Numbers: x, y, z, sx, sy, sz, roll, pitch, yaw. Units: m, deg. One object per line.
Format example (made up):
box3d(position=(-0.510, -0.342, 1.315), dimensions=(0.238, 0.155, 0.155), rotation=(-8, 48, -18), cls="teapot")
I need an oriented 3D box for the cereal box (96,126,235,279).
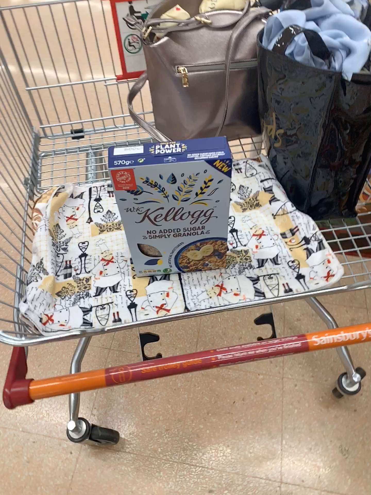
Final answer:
box3d(position=(-0.022, -0.053, 0.572), dimensions=(0.170, 0.248, 0.050), rotation=(-5, 50, -2), cls="cereal box")
